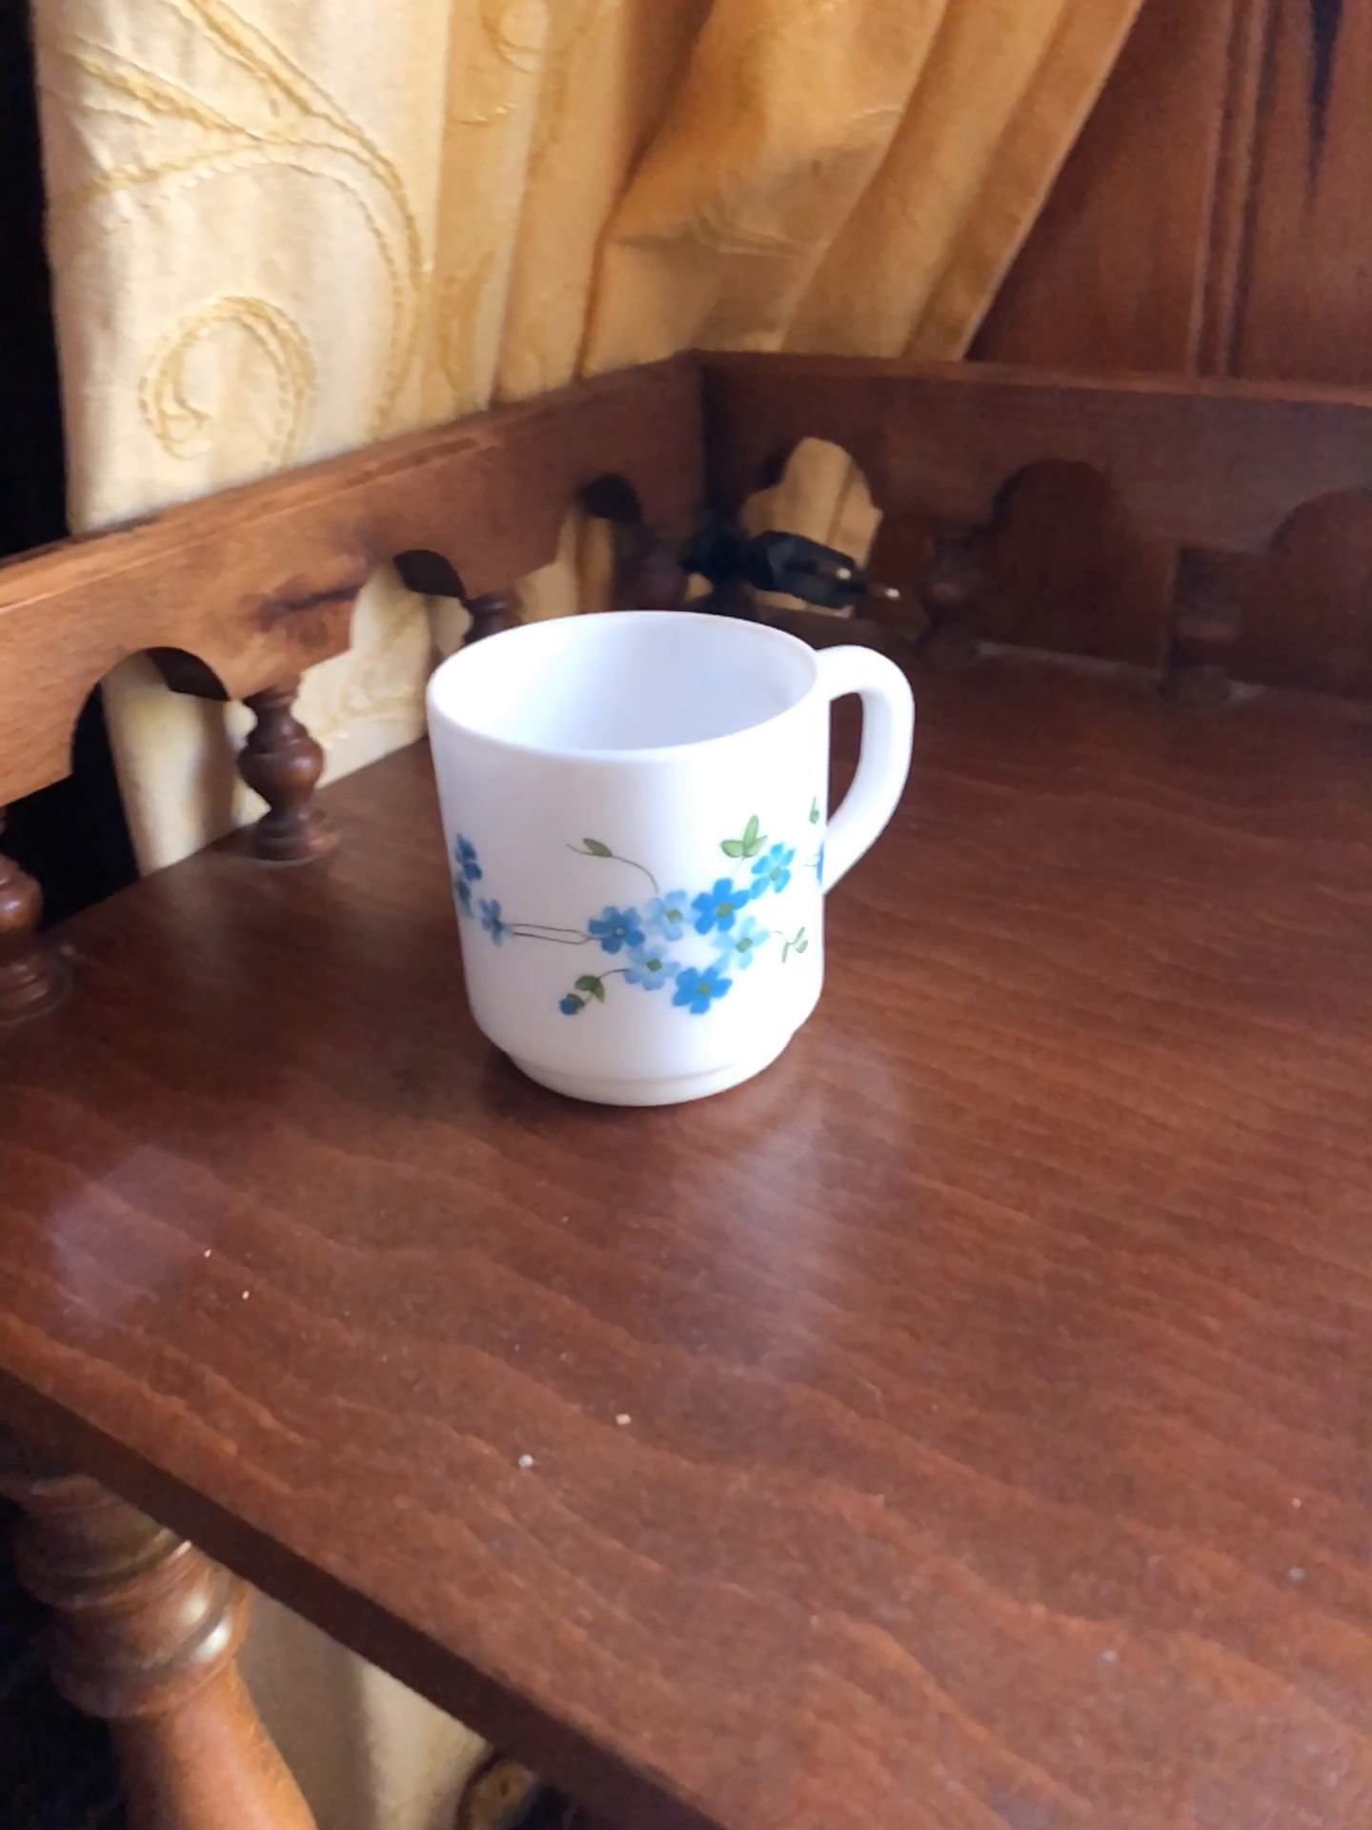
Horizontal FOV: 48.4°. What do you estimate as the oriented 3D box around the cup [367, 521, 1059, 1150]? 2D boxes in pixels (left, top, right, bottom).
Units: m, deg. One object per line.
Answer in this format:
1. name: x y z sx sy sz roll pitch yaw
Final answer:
1. cup: 0.003 -0.017 0.231 0.080 0.060 0.060 -15 31 -21
